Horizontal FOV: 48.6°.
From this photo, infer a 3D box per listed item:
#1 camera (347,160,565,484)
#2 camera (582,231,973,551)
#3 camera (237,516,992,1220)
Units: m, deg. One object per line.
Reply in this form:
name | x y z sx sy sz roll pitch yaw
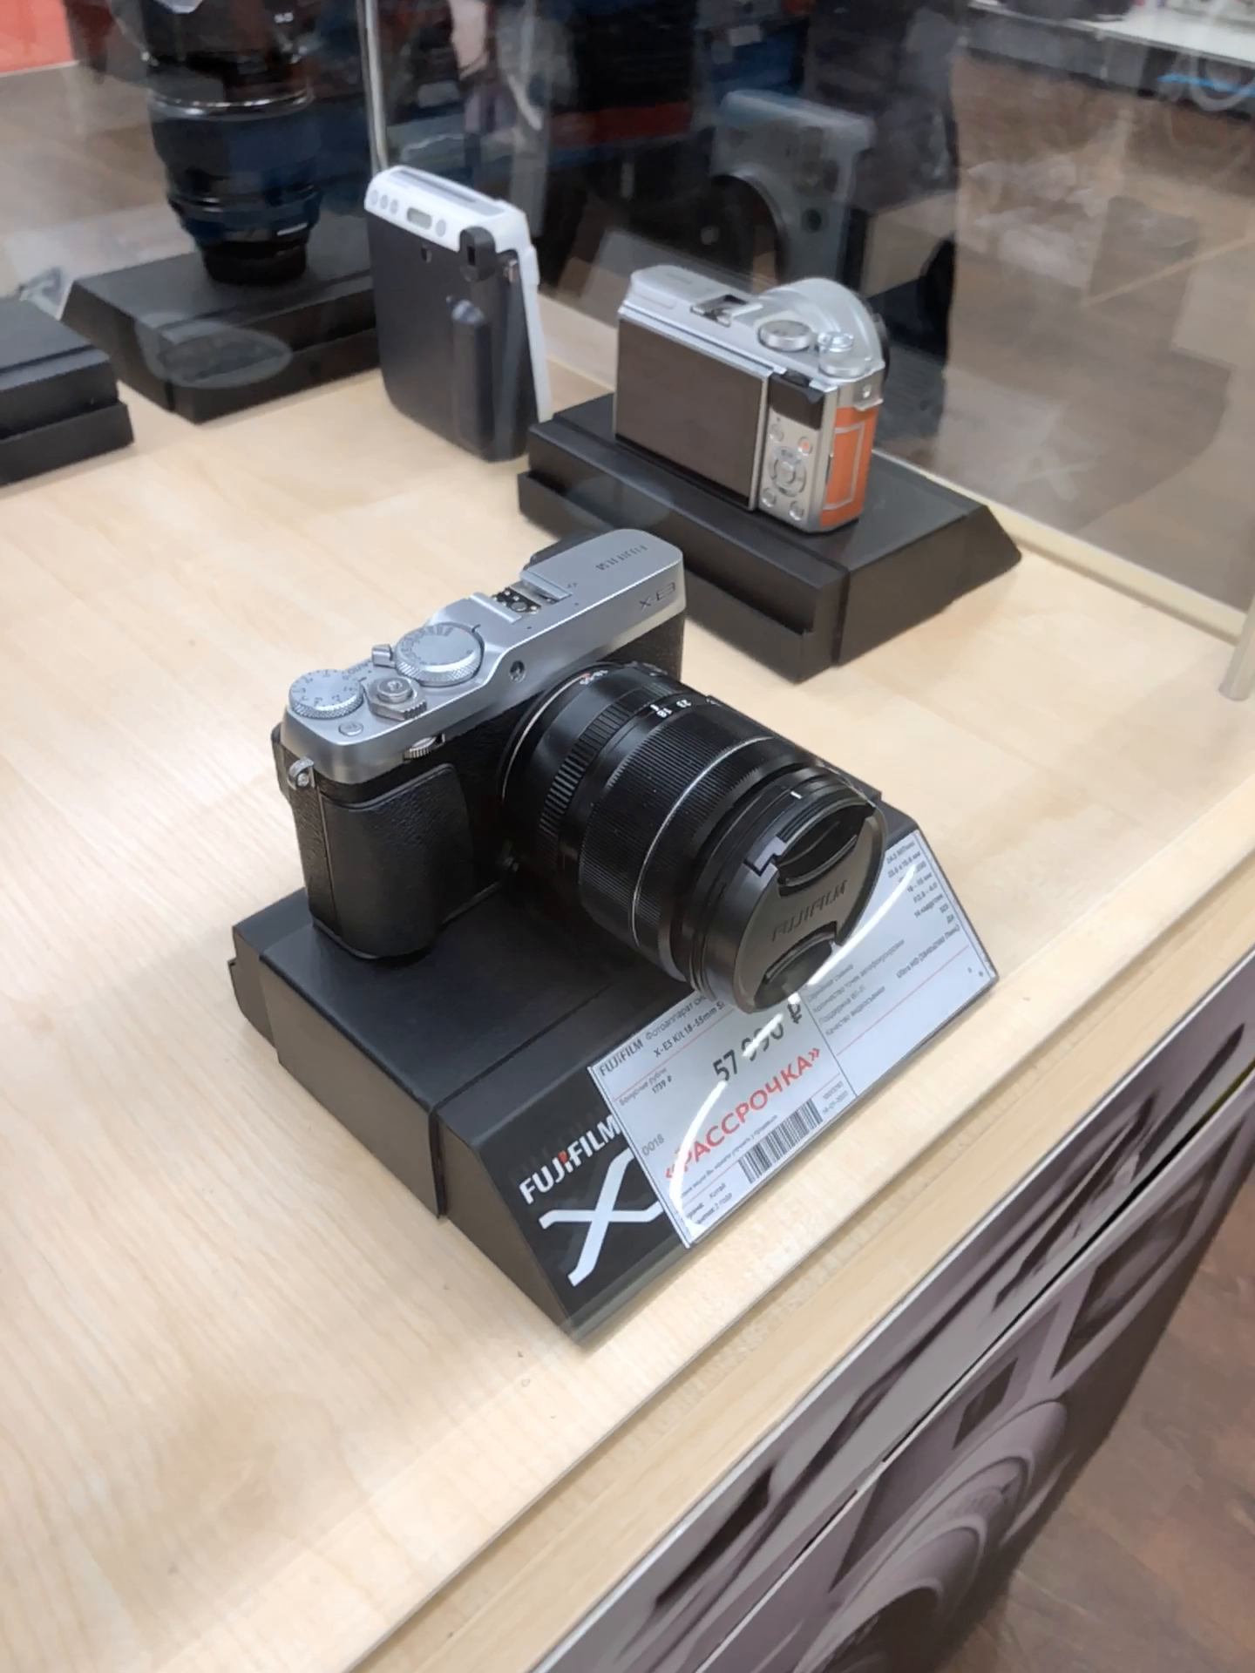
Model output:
camera | -0.075 -0.231 0.624 0.045 0.109 0.088 -31 50 -29
camera | 0.054 -0.181 0.553 0.077 0.068 0.132 -30 50 -32
camera | -0.003 -0.003 0.347 0.132 0.080 0.116 -32 51 -33
